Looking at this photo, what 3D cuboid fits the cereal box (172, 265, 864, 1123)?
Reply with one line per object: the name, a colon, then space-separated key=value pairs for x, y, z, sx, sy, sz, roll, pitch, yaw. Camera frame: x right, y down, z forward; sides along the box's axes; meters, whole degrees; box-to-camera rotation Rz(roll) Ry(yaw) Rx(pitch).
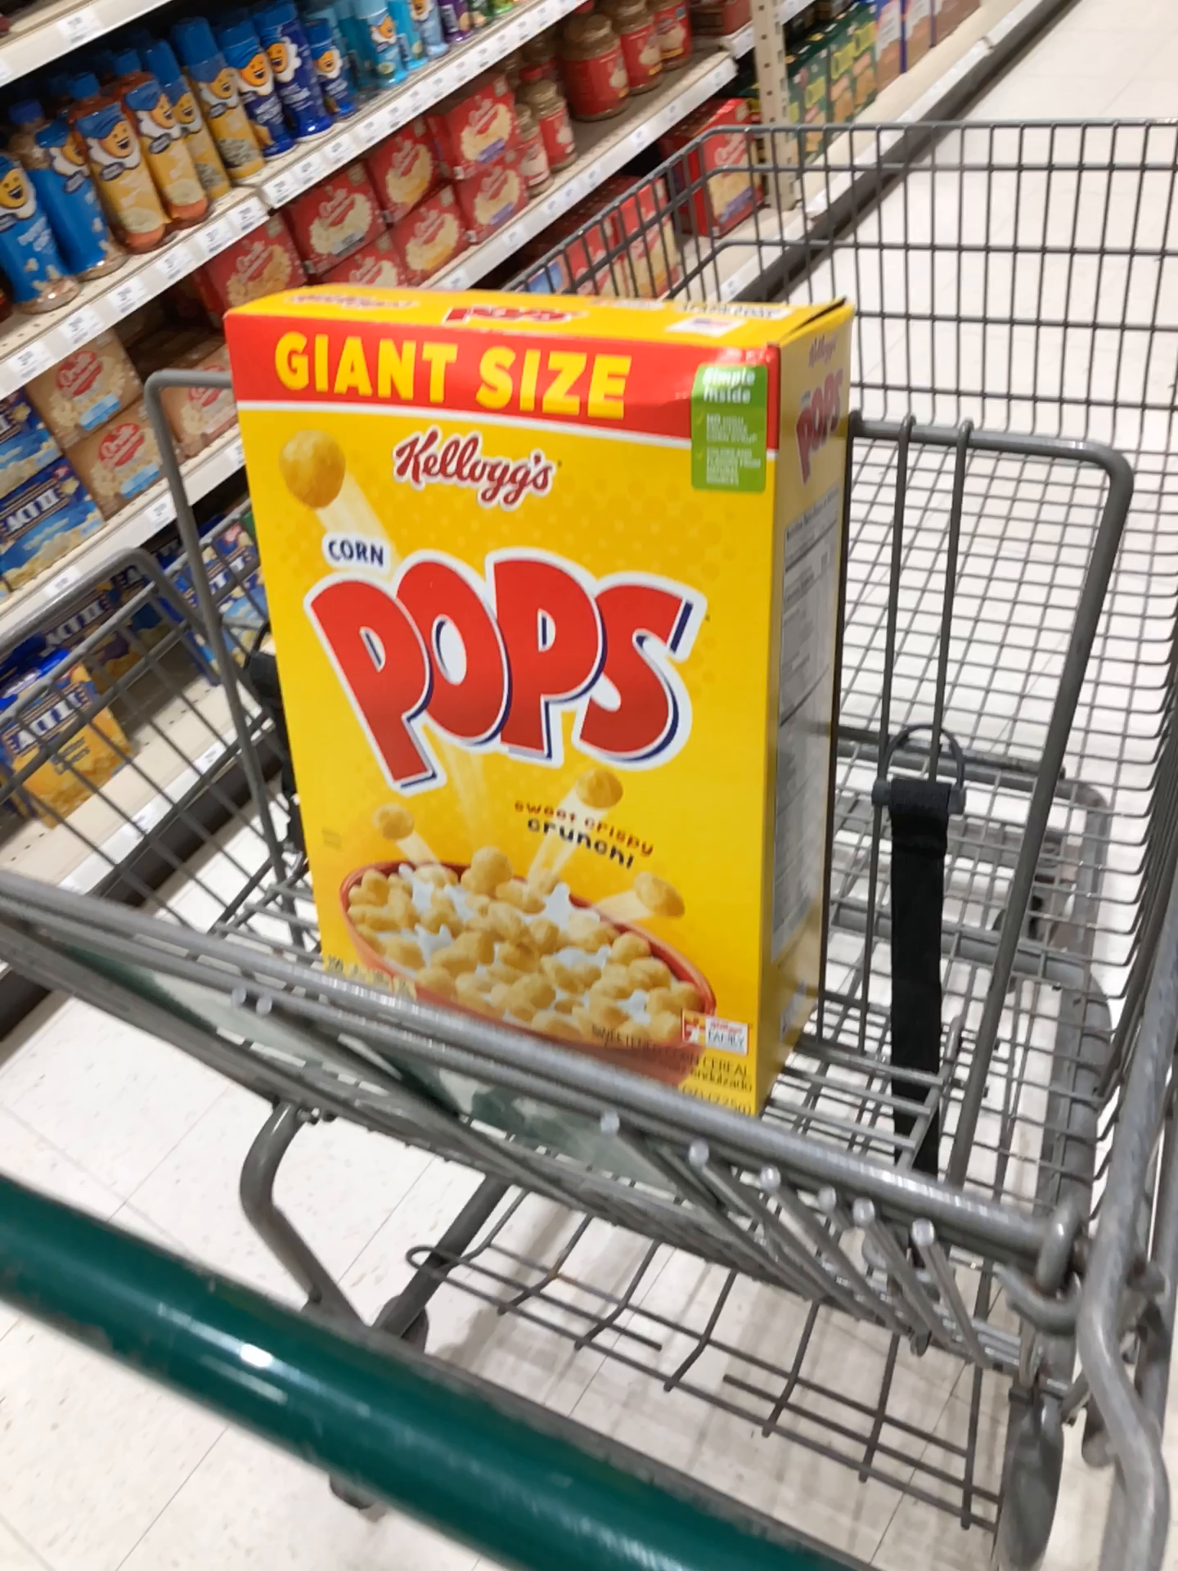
cereal box: x=-0.025 y=-0.040 z=0.562 sx=0.250 sy=0.329 sz=0.080 roll=12 pitch=33 yaw=25
